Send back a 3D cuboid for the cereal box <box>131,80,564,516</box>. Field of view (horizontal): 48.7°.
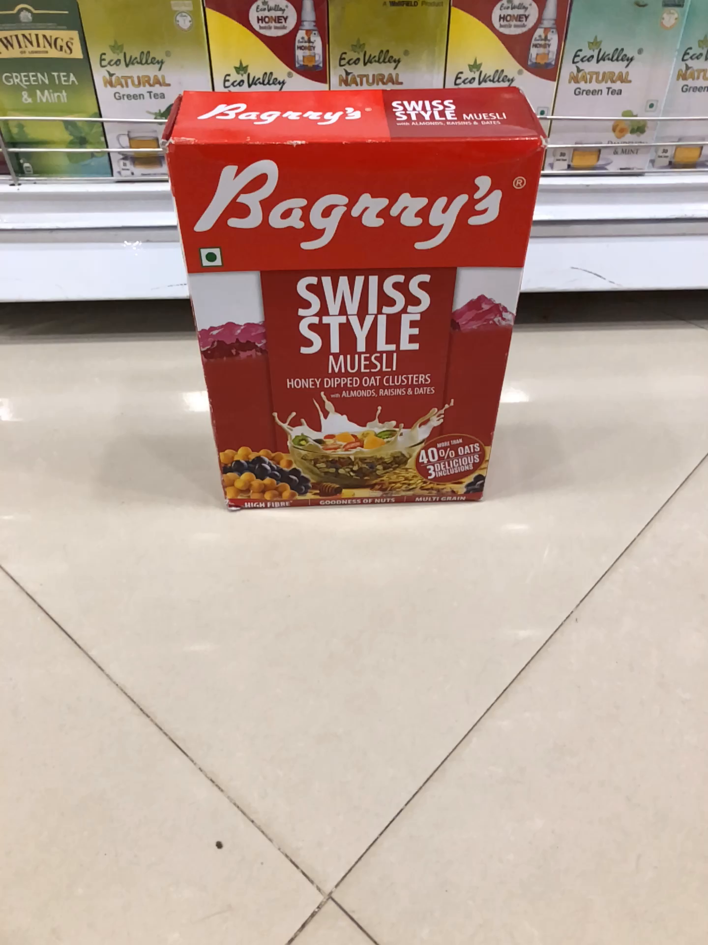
[{"bbox_3d":[-0.003,-0.091,0.476,0.200,0.248,0.081,-2,44,-2],"label":"cereal box"}]
